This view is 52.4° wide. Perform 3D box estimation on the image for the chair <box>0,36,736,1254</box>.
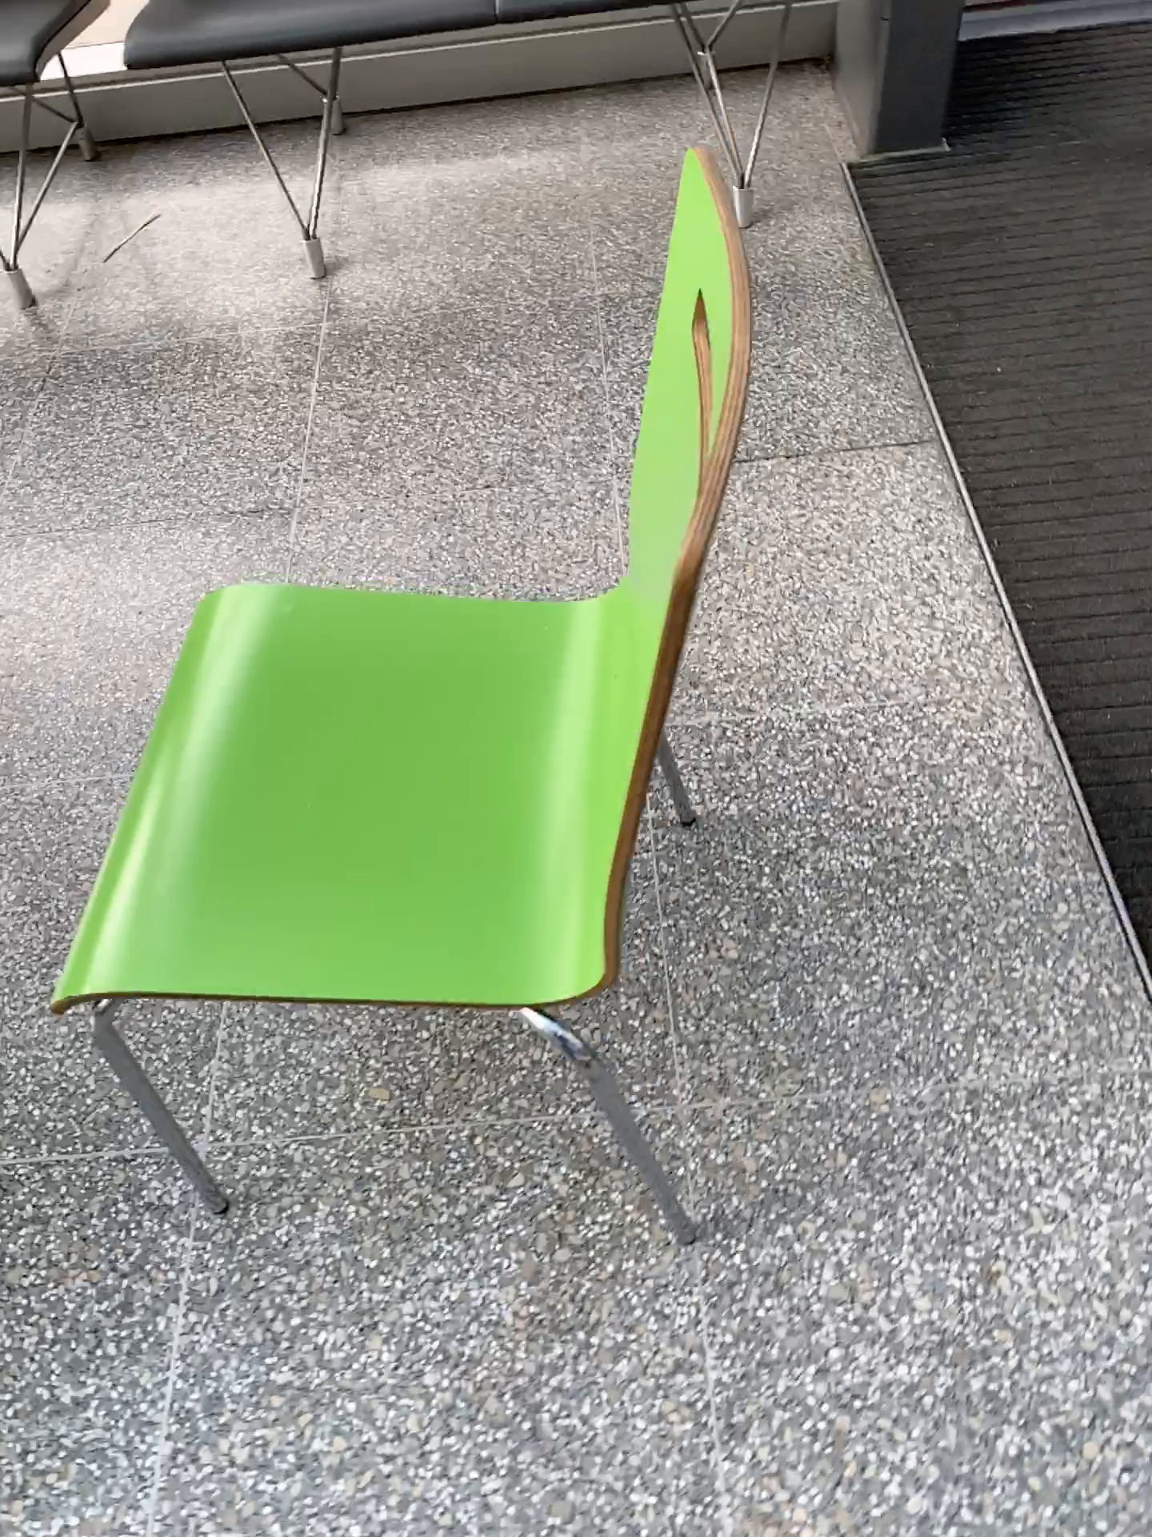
[{"bbox_3d":[-0.152,-0.008,0.960,0.530,0.832,0.545,-1,53,6],"label":"chair"}]
